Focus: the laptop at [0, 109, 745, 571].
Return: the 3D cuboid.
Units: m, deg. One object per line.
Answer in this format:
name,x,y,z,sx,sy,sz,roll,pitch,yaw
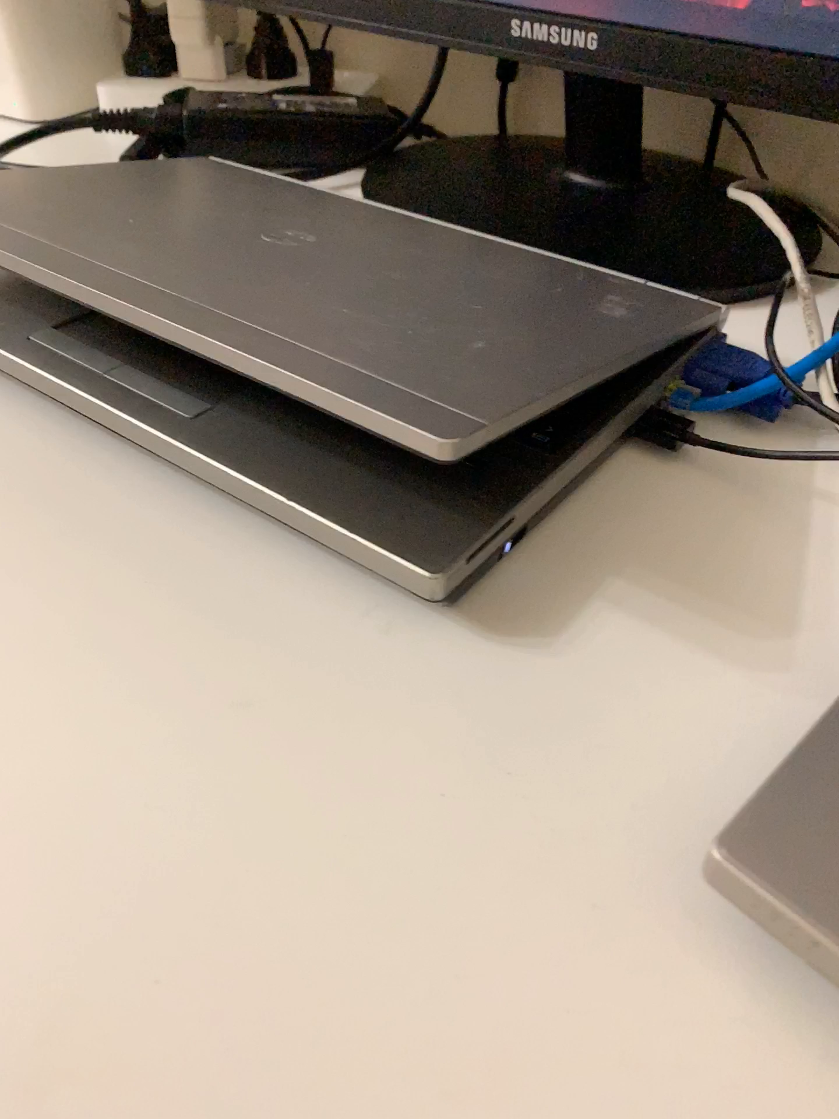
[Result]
laptop,-0.051,-0.117,0.346,0.293,0.029,0.184,27,49,28
